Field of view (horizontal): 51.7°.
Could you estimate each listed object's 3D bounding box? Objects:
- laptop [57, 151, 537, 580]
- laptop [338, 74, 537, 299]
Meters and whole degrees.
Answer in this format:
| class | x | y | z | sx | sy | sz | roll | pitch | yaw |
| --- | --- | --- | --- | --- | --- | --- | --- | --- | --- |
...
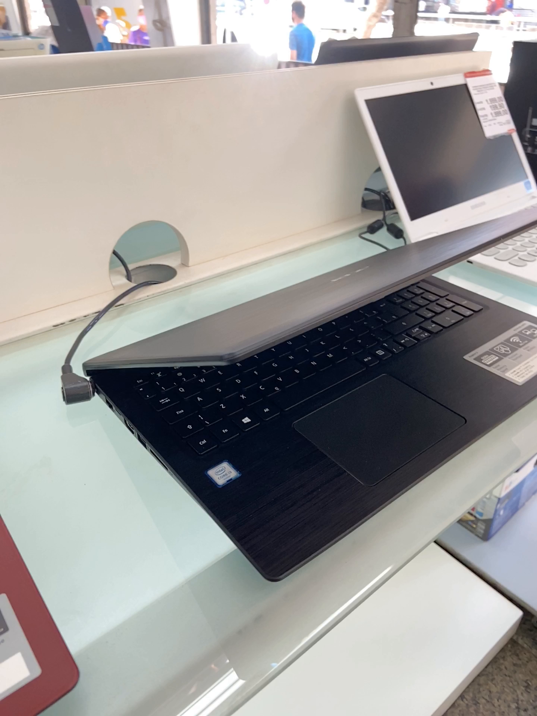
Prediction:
| class | x | y | z | sx | sy | sz | roll | pitch | yaw |
| --- | --- | --- | --- | --- | --- | --- | --- | --- | --- |
| laptop | 0.074 | -0.050 | 0.443 | 0.380 | 0.123 | 0.240 | -24 | 40 | -31 |
| laptop | 0.356 | -0.267 | 0.746 | 0.382 | 0.165 | 0.351 | -24 | 40 | -35 |
